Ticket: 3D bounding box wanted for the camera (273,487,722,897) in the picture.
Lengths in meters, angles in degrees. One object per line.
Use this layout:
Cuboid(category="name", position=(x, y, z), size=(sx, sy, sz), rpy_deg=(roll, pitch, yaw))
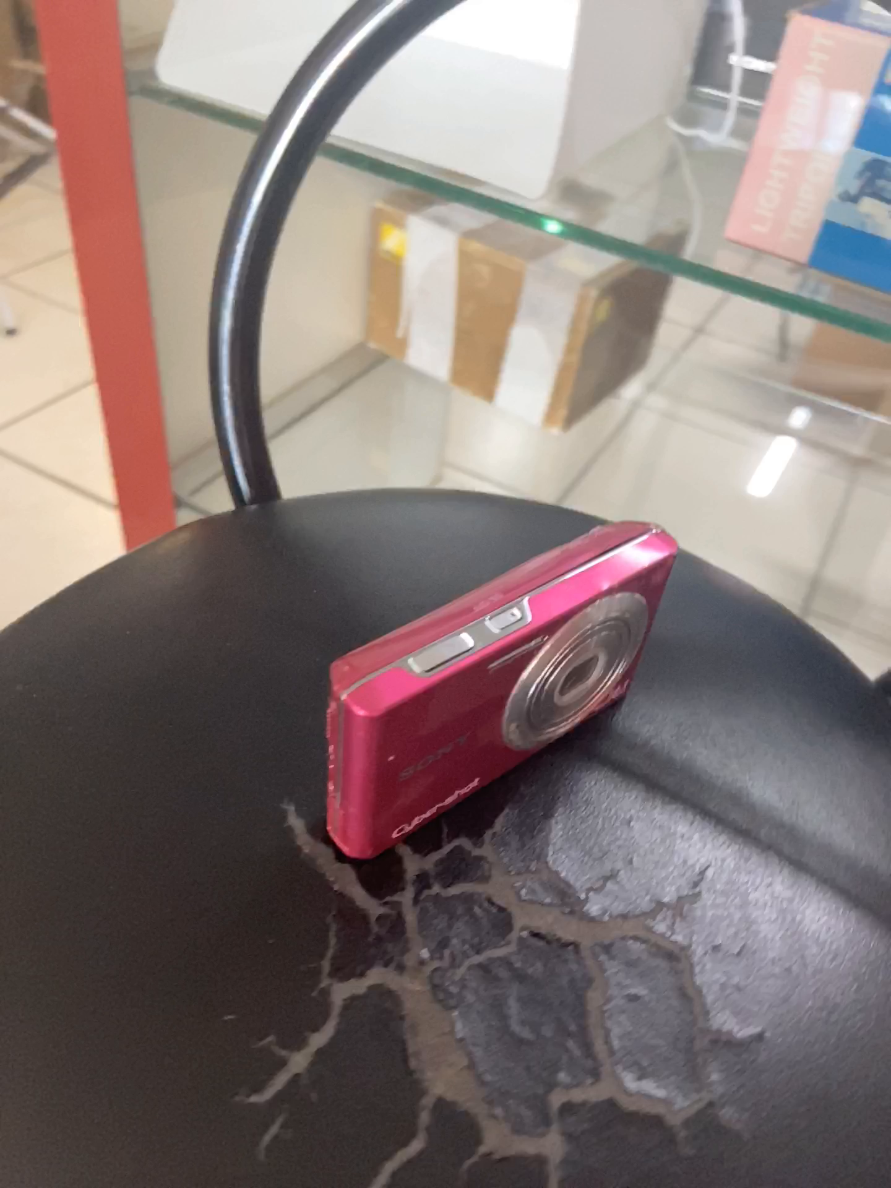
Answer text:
Cuboid(category="camera", position=(0.013, 0.019, 0.214), size=(0.100, 0.050, 0.030), rpy_deg=(-25, 51, -30))
